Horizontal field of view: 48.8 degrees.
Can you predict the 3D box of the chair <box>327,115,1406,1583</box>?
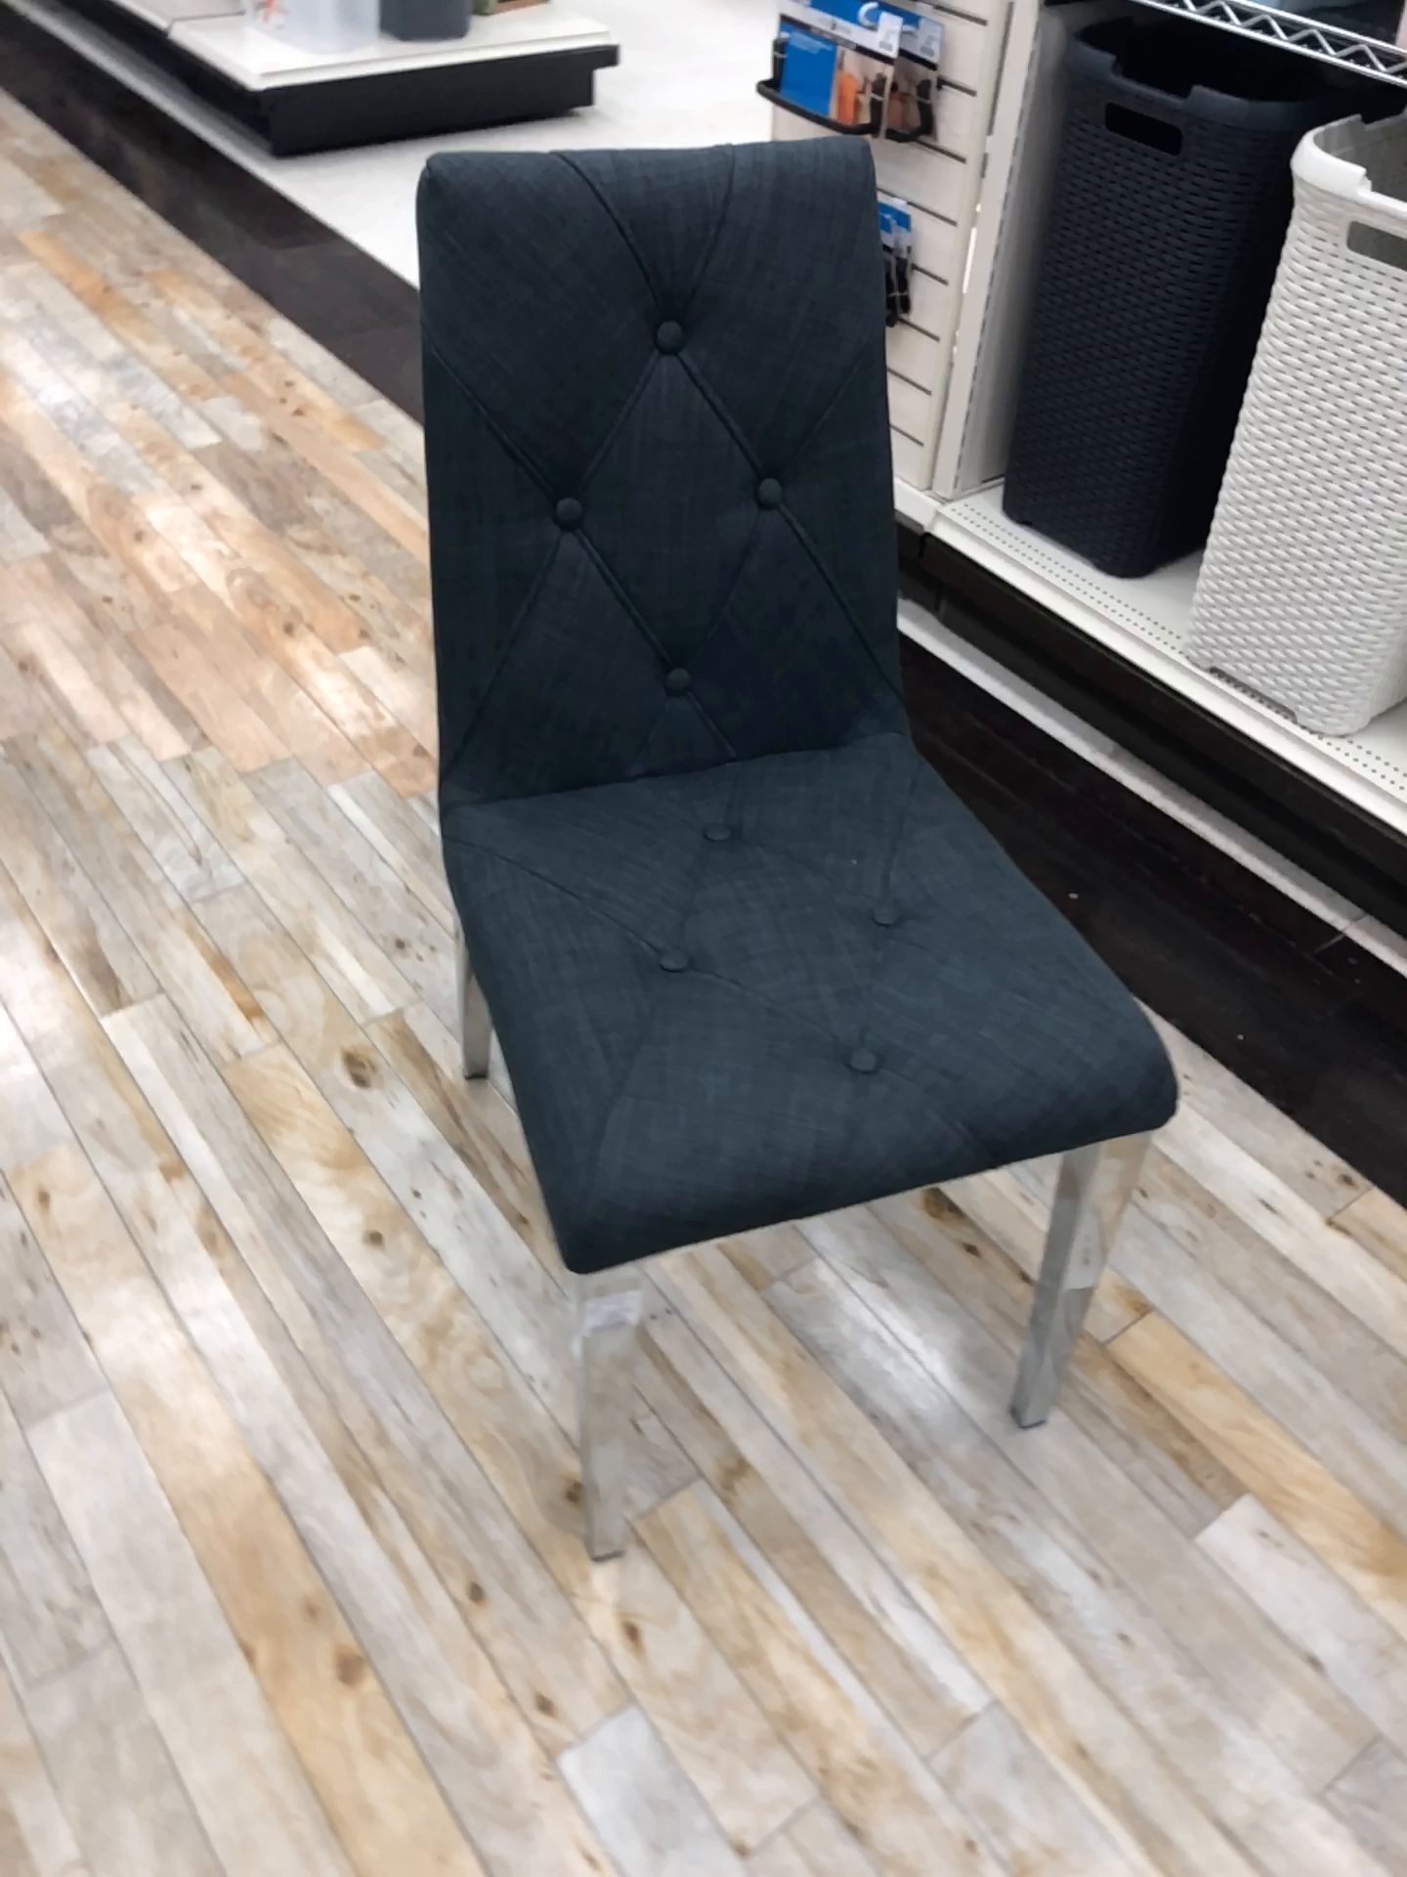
[{"bbox_3d":[0.038,-0.054,1.169,0.450,0.867,0.582,-11,45,-17],"label":"chair"}]
